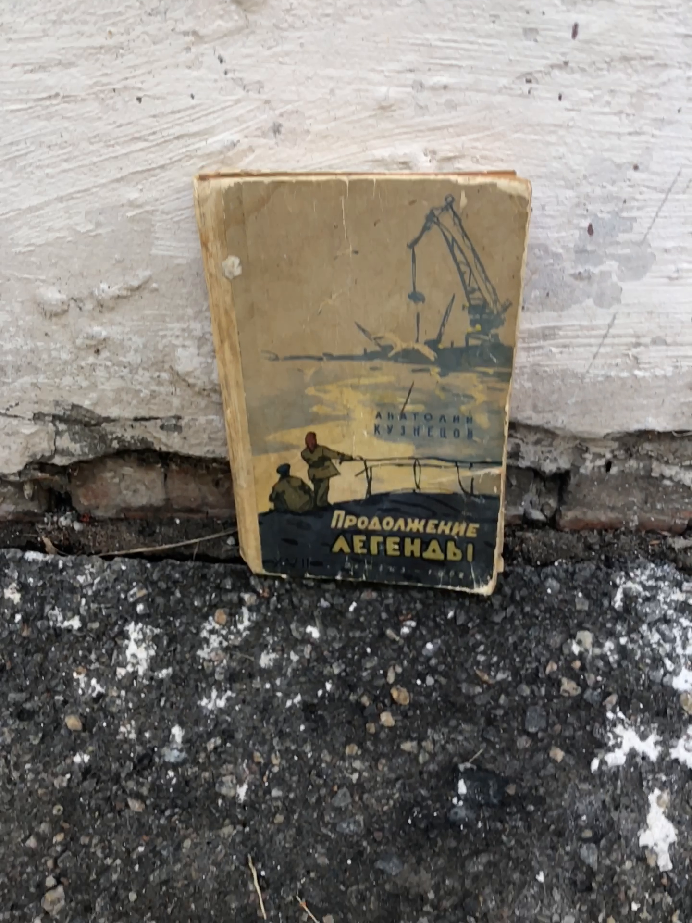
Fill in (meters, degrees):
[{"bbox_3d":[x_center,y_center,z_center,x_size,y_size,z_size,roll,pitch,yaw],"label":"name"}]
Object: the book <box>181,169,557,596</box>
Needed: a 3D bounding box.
[{"bbox_3d":[0.008,-0.028,0.334,0.136,0.181,0.030,3,28,5],"label":"book"}]
